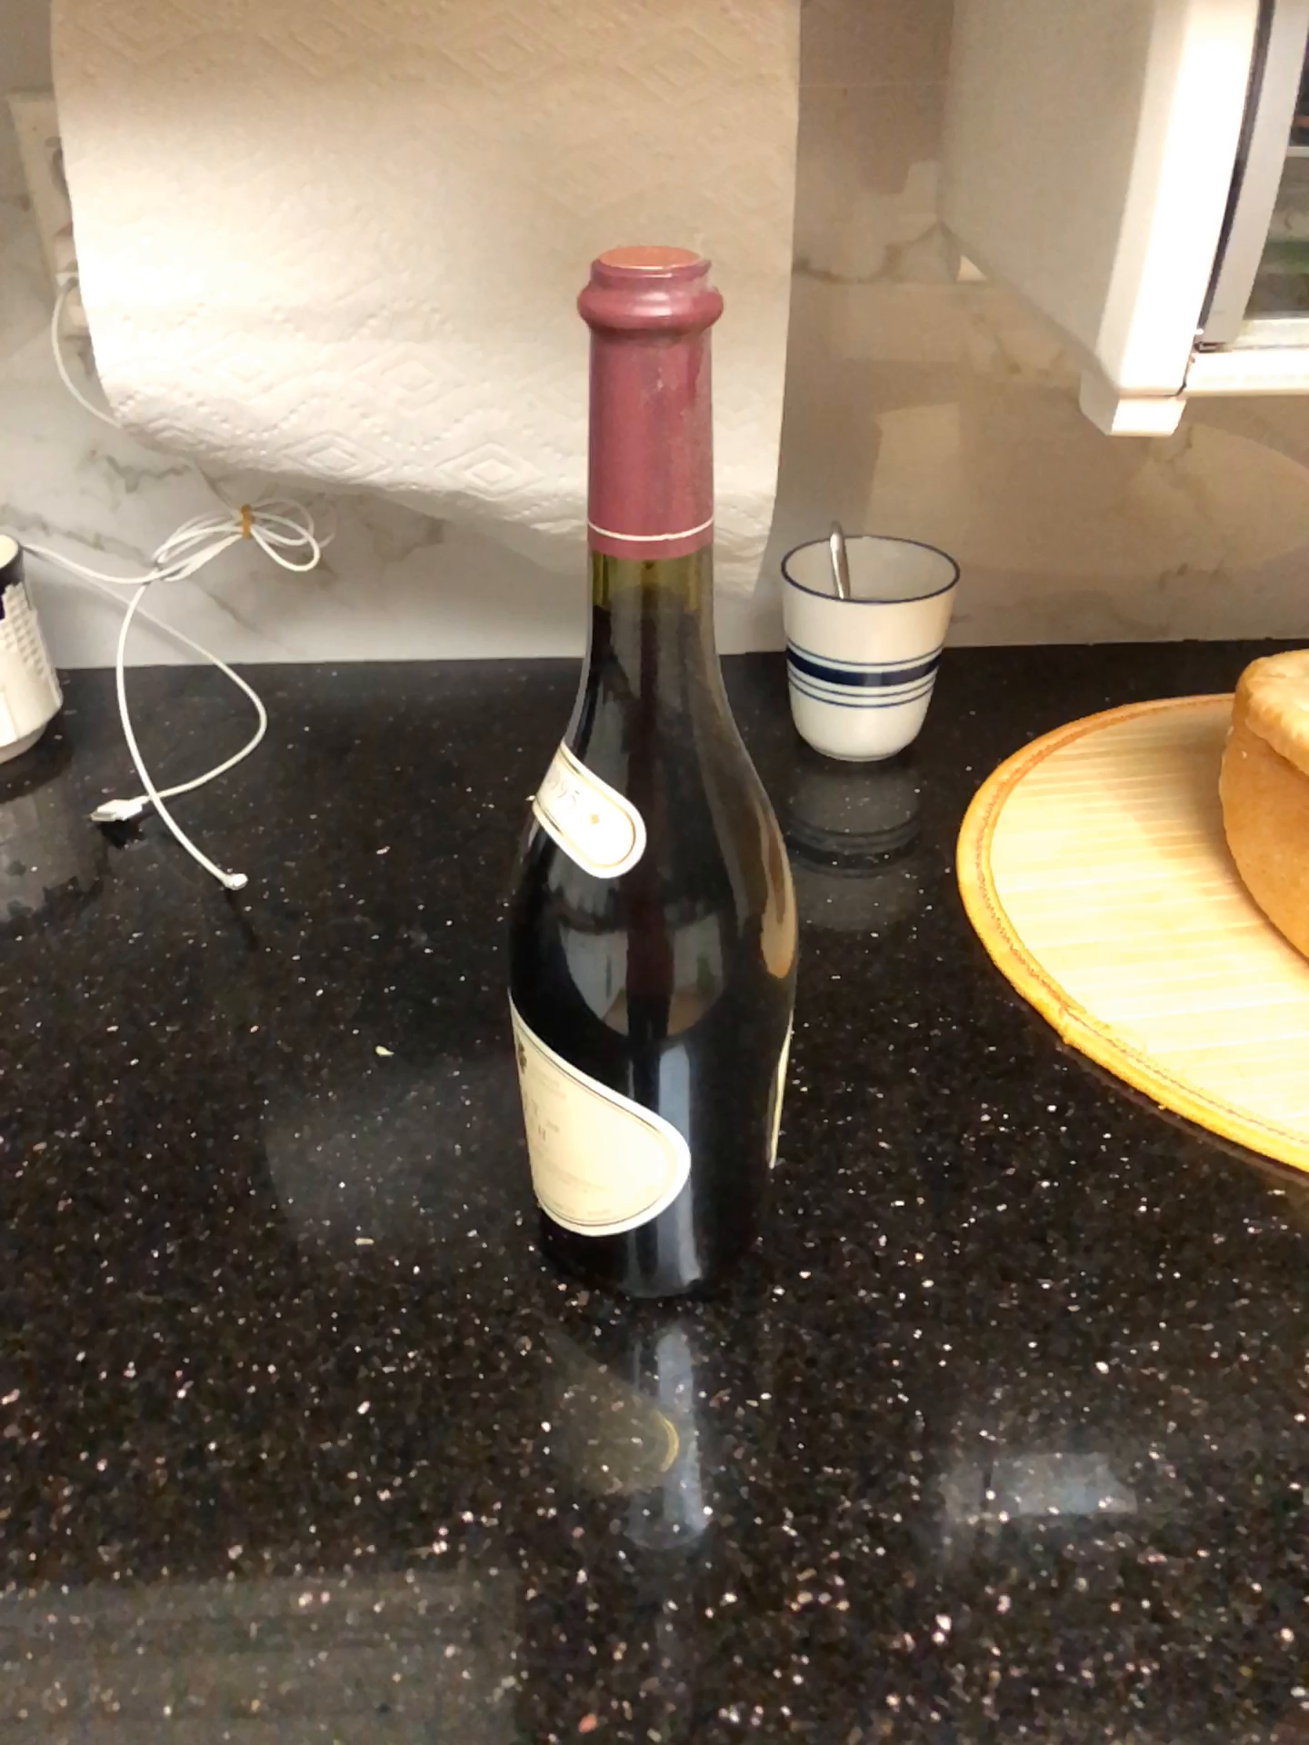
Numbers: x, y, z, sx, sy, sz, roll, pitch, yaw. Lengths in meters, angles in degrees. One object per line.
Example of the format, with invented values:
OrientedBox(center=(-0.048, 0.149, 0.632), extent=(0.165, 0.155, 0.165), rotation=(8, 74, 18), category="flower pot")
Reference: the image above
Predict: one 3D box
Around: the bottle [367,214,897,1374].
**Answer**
OrientedBox(center=(-0.007, -0.009, 0.408), extent=(0.090, 0.308, 0.090), rotation=(0, 33, 0), category="bottle")
